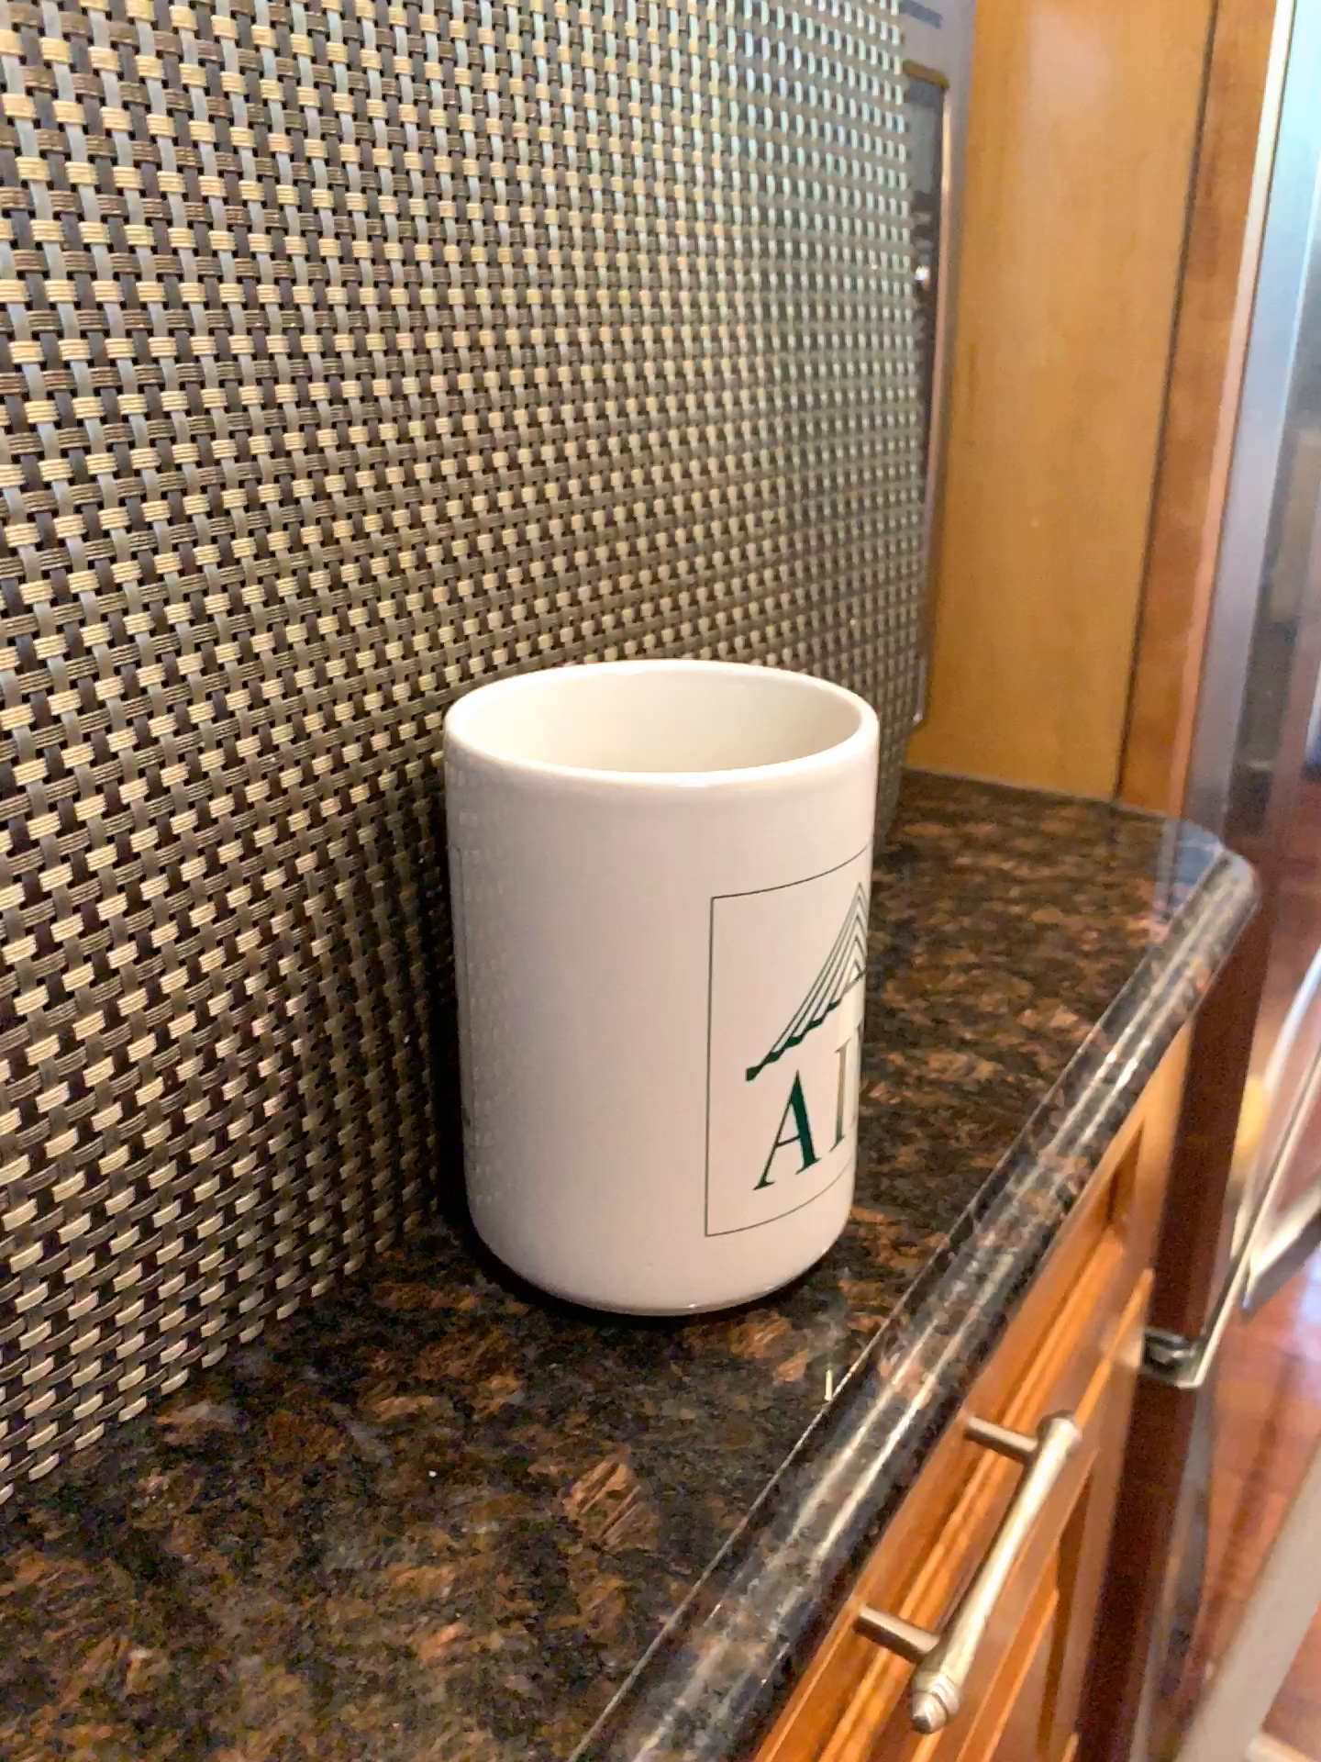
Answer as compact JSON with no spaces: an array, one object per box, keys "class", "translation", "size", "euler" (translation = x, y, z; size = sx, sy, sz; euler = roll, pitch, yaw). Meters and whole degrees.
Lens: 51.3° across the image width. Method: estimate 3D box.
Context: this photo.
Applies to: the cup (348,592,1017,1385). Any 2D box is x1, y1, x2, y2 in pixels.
[{"class":"cup","translation":[0.014,0.008,0.291],"size":[0.090,0.109,0.131],"euler":[9,23,21]}]
